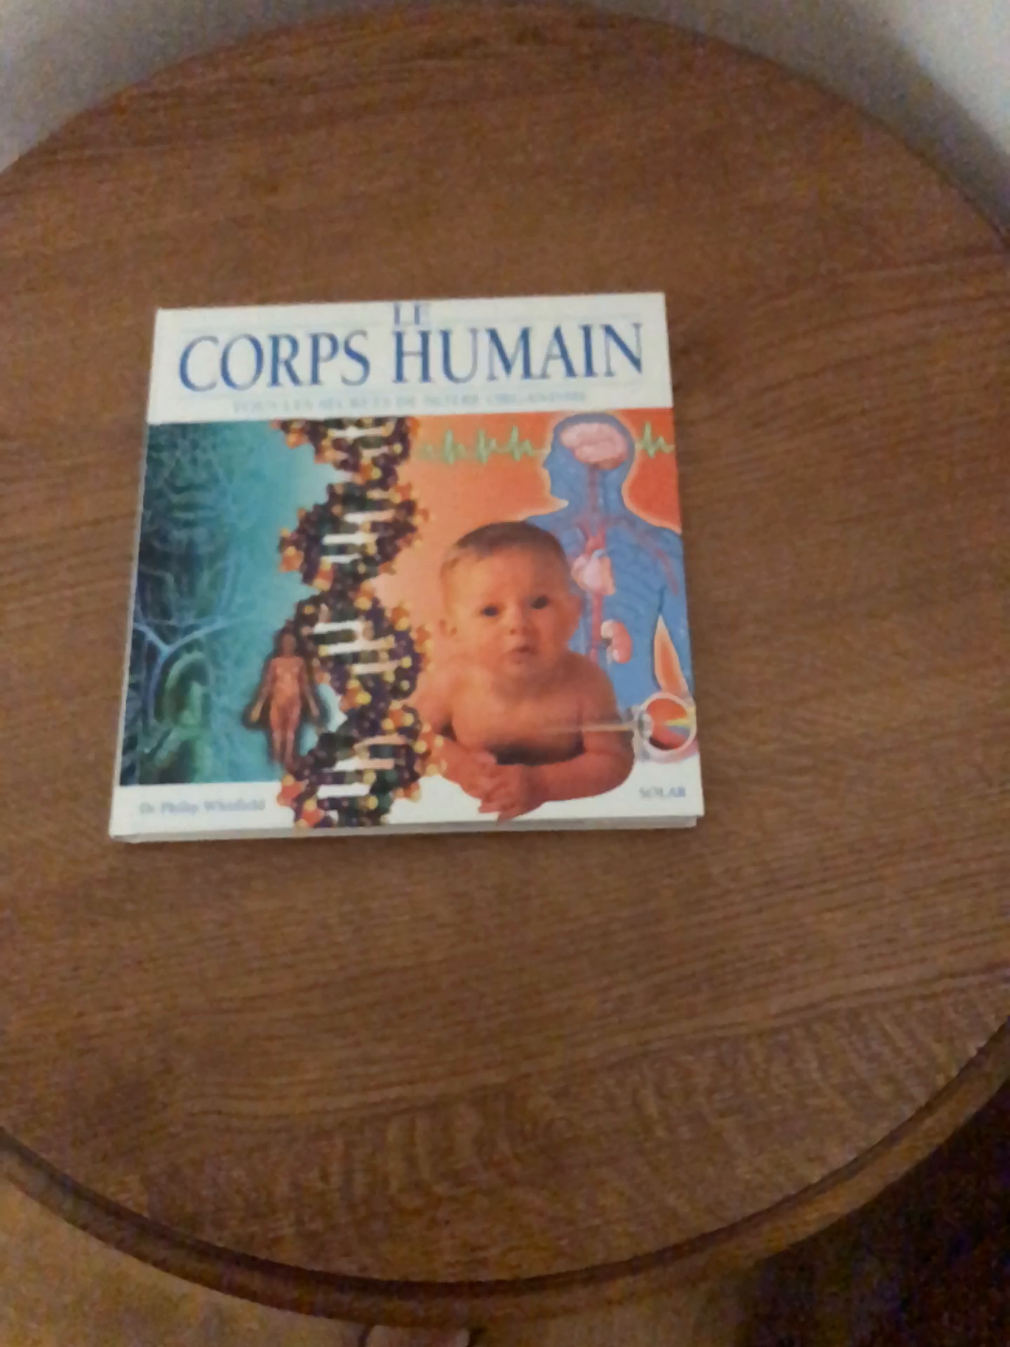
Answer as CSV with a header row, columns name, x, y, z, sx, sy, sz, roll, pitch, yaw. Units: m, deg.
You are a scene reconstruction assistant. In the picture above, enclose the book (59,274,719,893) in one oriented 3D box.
name,x,y,z,sx,sy,sz,roll,pitch,yaw
book,-0.048,-0.048,0.520,0.270,0.040,0.291,-1,72,1
